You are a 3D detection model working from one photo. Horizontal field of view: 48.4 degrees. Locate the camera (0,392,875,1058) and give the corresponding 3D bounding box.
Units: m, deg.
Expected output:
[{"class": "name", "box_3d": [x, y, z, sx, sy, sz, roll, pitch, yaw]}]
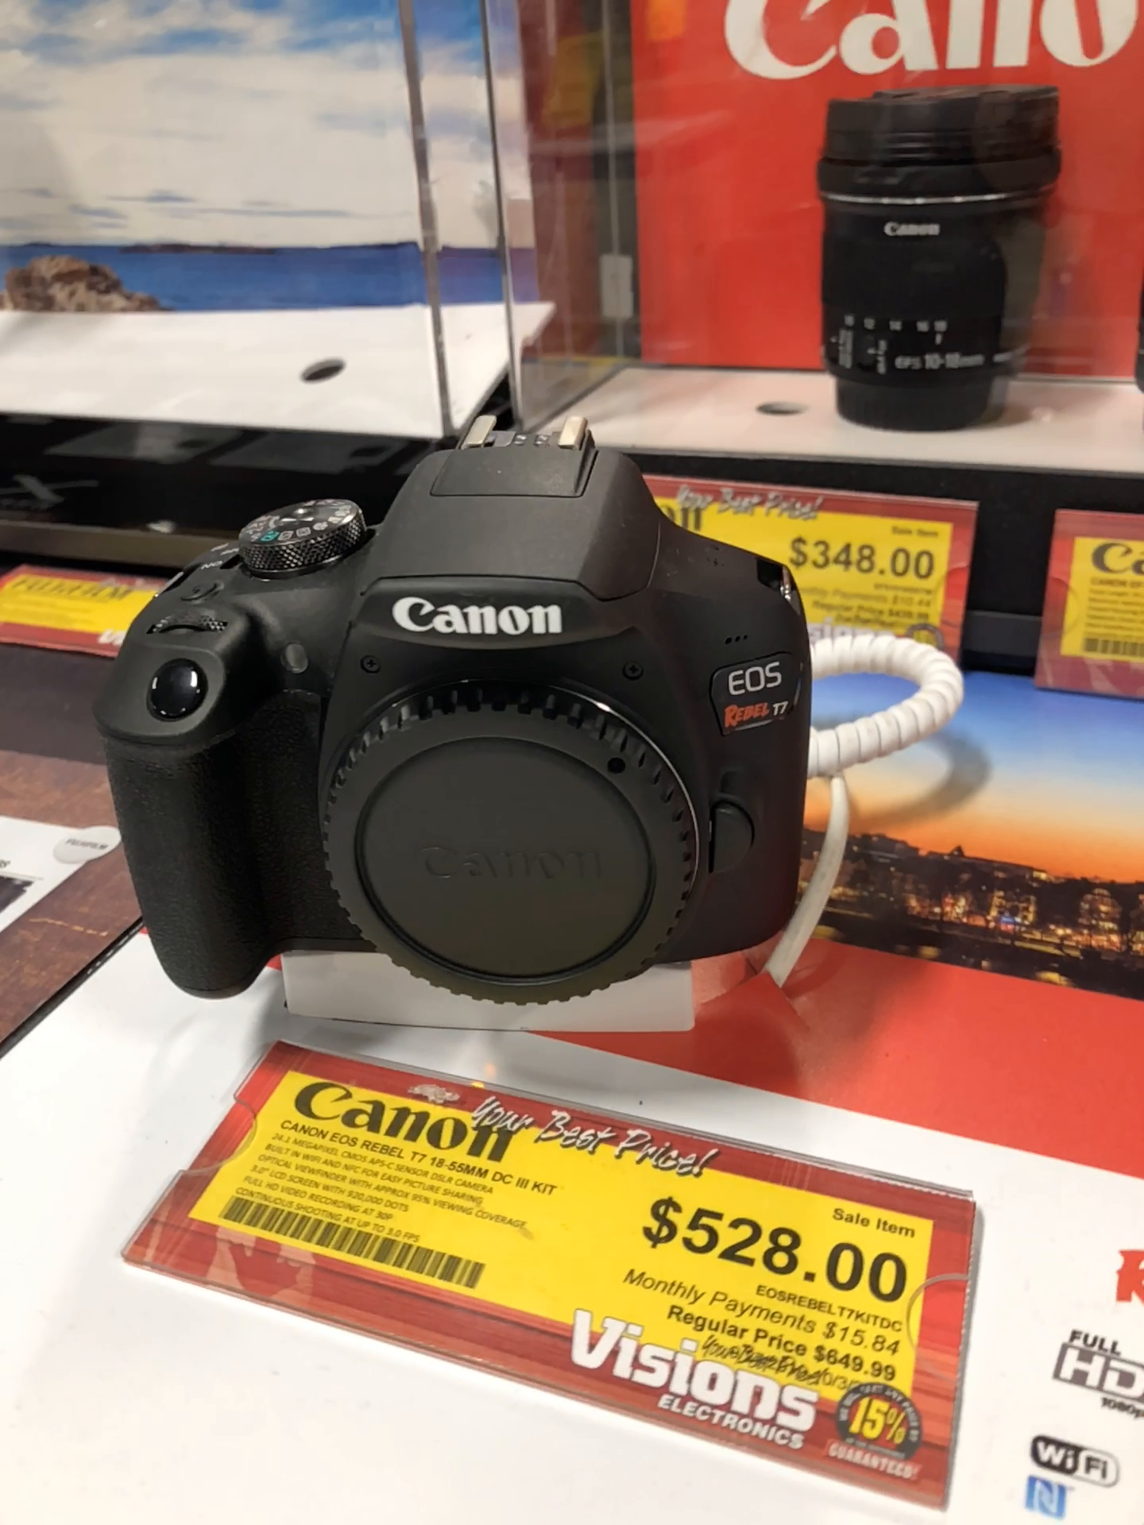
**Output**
[{"class": "camera", "box_3d": [-0.015, -0.013, 0.242, 0.130, 0.089, 0.091, 1, 30, 8]}]
